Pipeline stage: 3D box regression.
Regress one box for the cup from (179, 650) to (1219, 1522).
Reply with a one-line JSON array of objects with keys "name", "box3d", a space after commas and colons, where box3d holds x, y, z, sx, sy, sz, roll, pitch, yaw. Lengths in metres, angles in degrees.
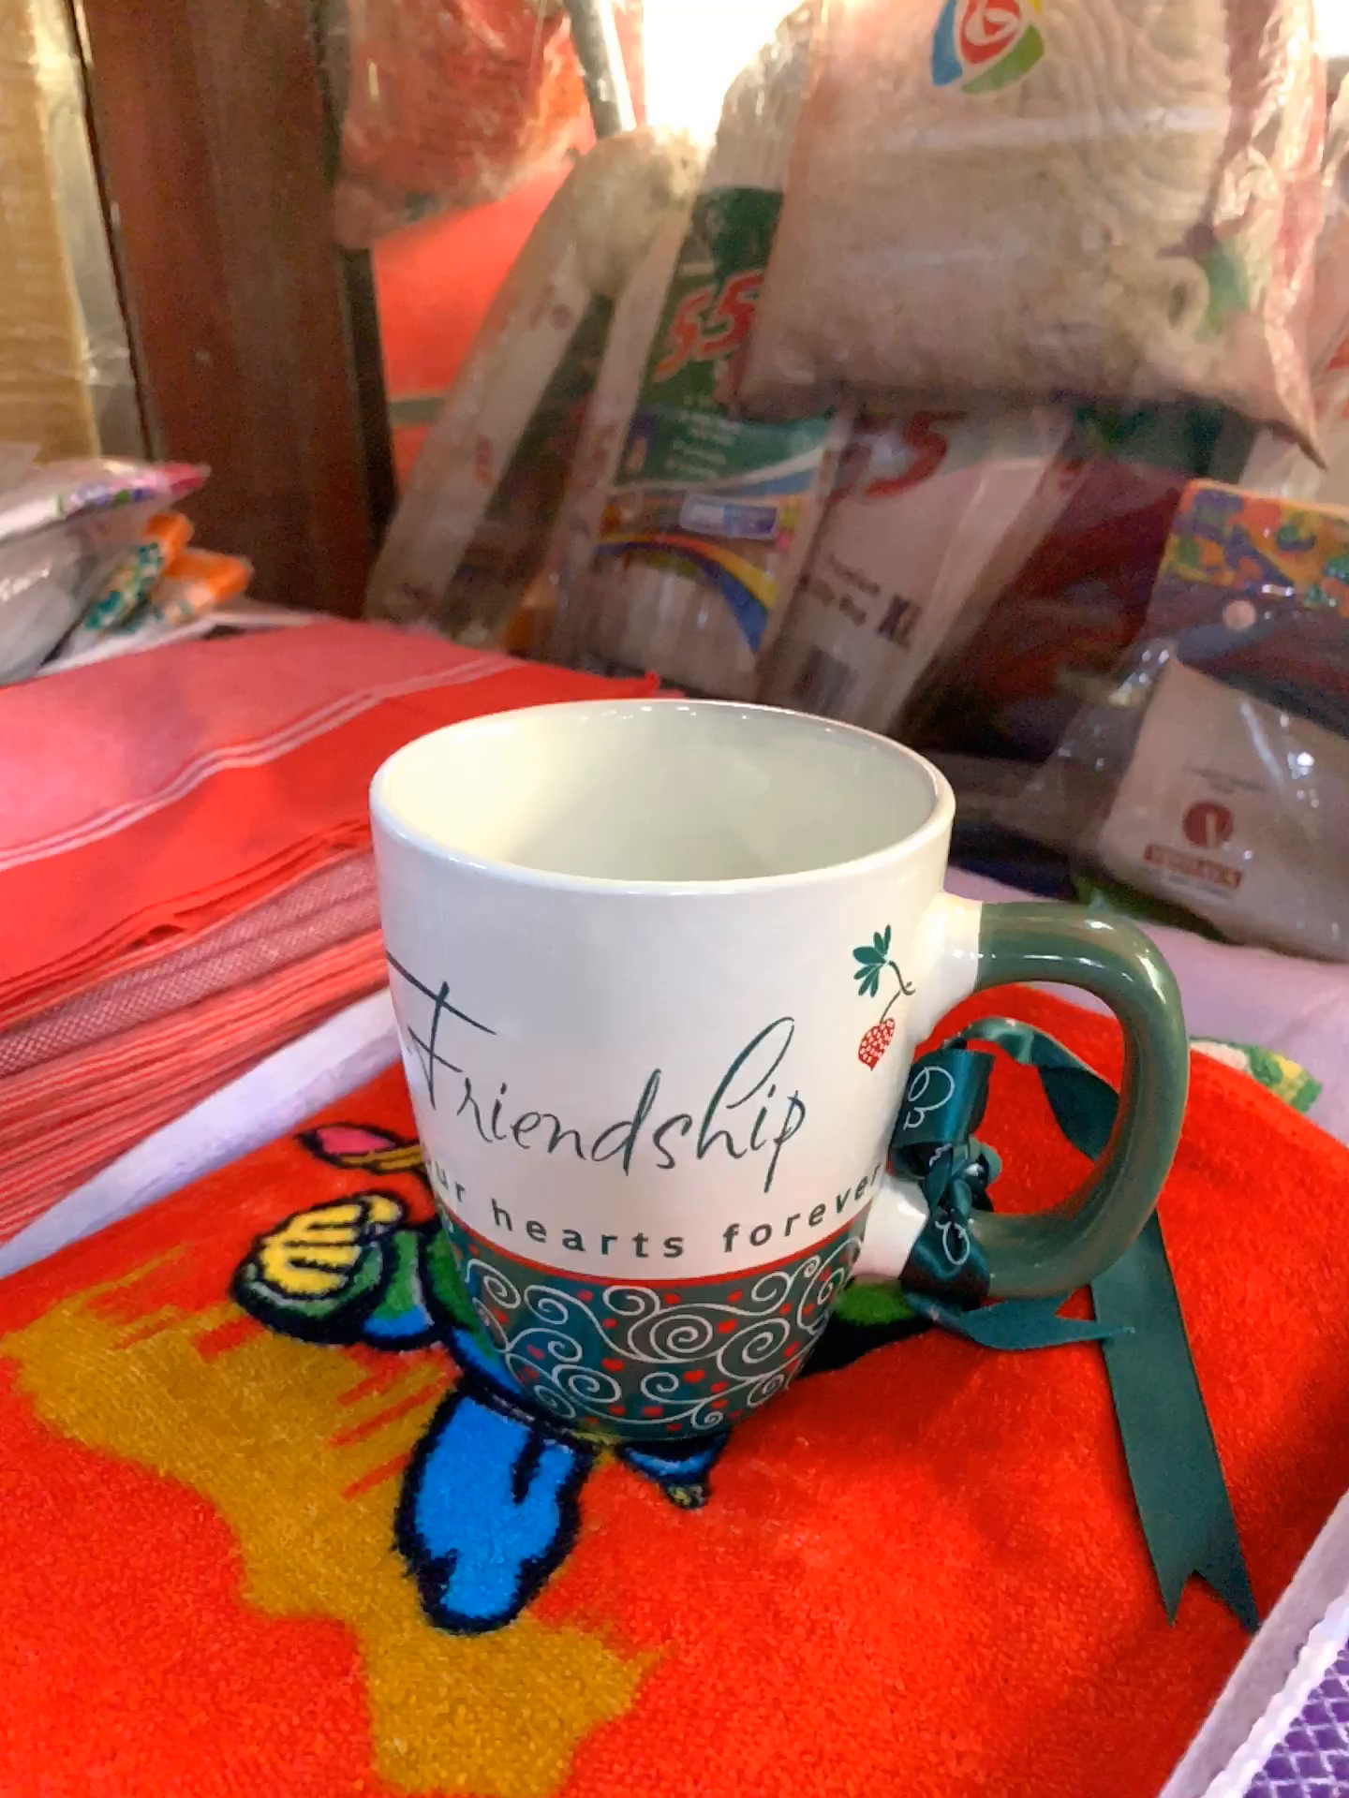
[{"name": "cup", "box3d": [0.009, 0.020, 0.240, 0.132, 0.094, 0.101, 5, 25, 12]}]
